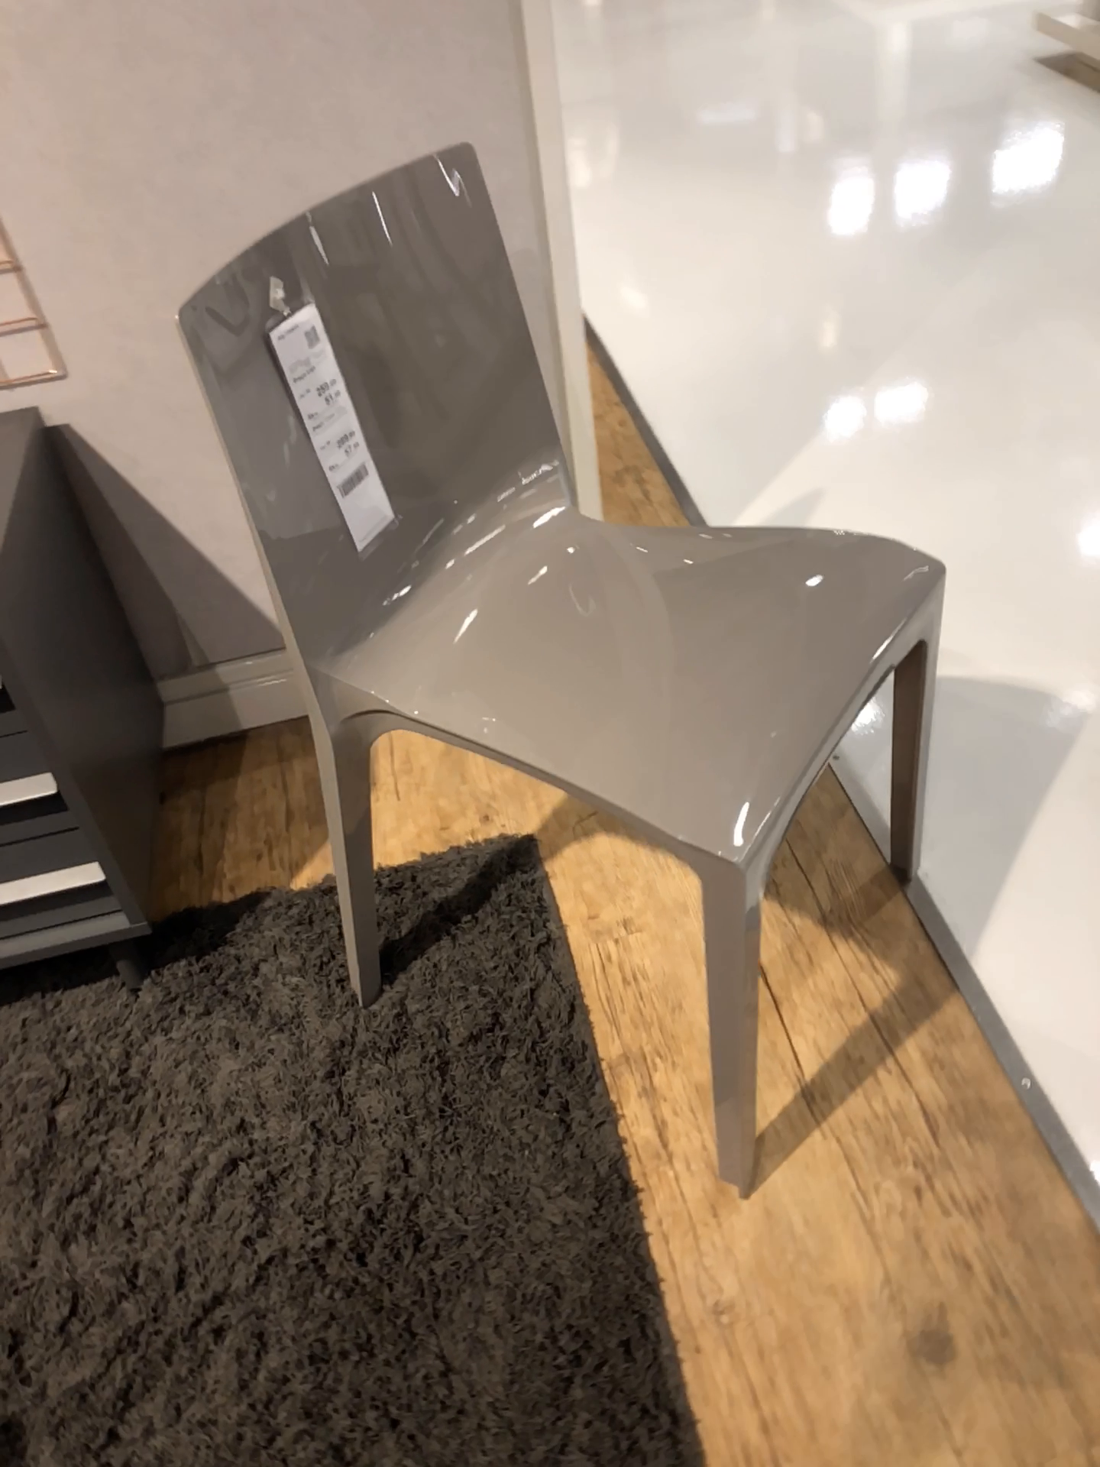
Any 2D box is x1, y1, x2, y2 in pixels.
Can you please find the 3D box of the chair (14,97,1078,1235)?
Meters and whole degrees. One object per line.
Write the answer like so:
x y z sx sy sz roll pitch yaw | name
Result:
0.044 -0.073 1.112 0.562 0.754 0.523 22 51 29 | chair
